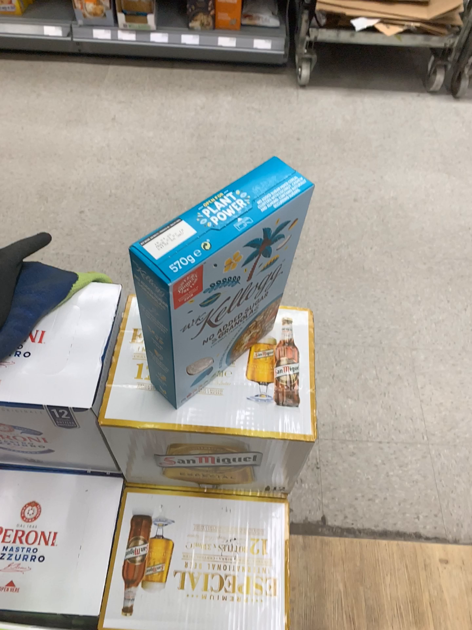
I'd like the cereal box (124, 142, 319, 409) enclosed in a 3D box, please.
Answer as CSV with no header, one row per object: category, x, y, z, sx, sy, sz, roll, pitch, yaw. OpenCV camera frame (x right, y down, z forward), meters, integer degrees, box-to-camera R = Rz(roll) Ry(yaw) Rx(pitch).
cereal box,-0.016,-0.021,0.477,0.161,0.248,0.050,-38,69,-25
